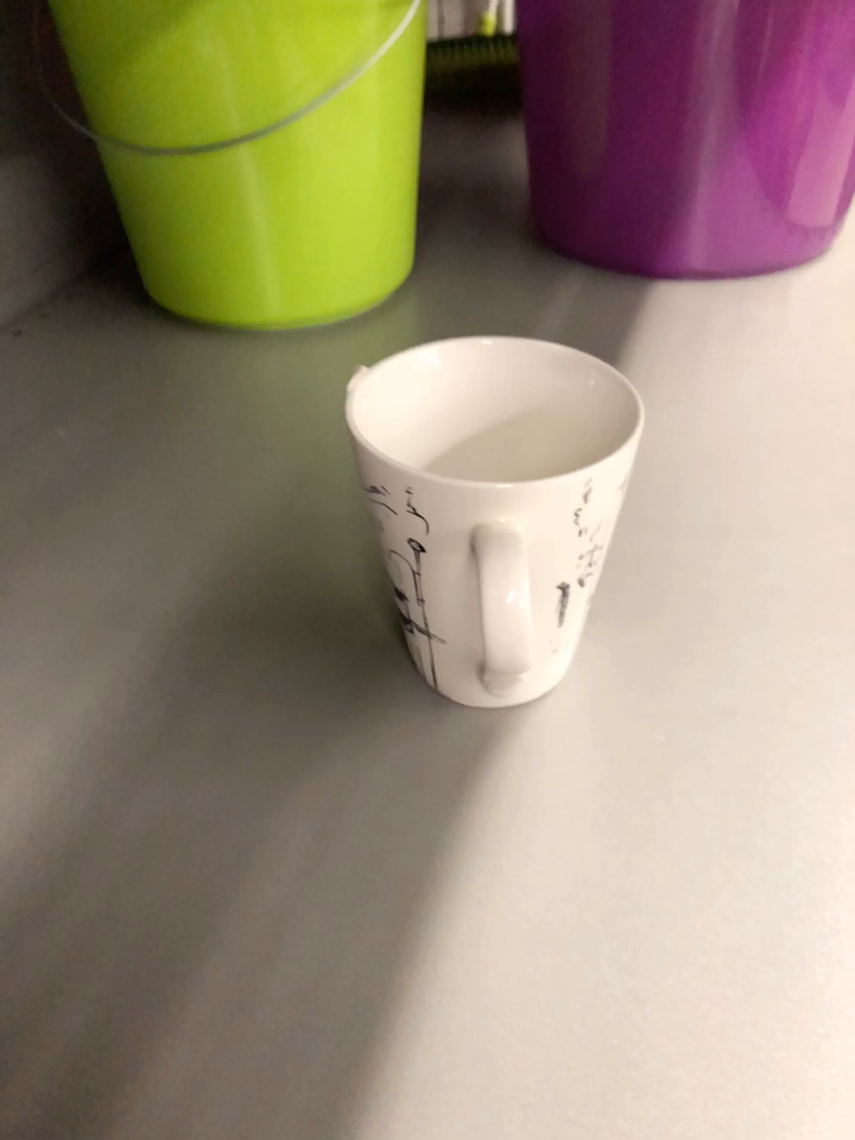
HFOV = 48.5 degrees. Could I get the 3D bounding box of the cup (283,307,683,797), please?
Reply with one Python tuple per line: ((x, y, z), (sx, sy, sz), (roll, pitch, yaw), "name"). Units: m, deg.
((0.017, -0.010, 0.291), (0.091, 0.098, 0.115), (1, 40, 4), "cup")
